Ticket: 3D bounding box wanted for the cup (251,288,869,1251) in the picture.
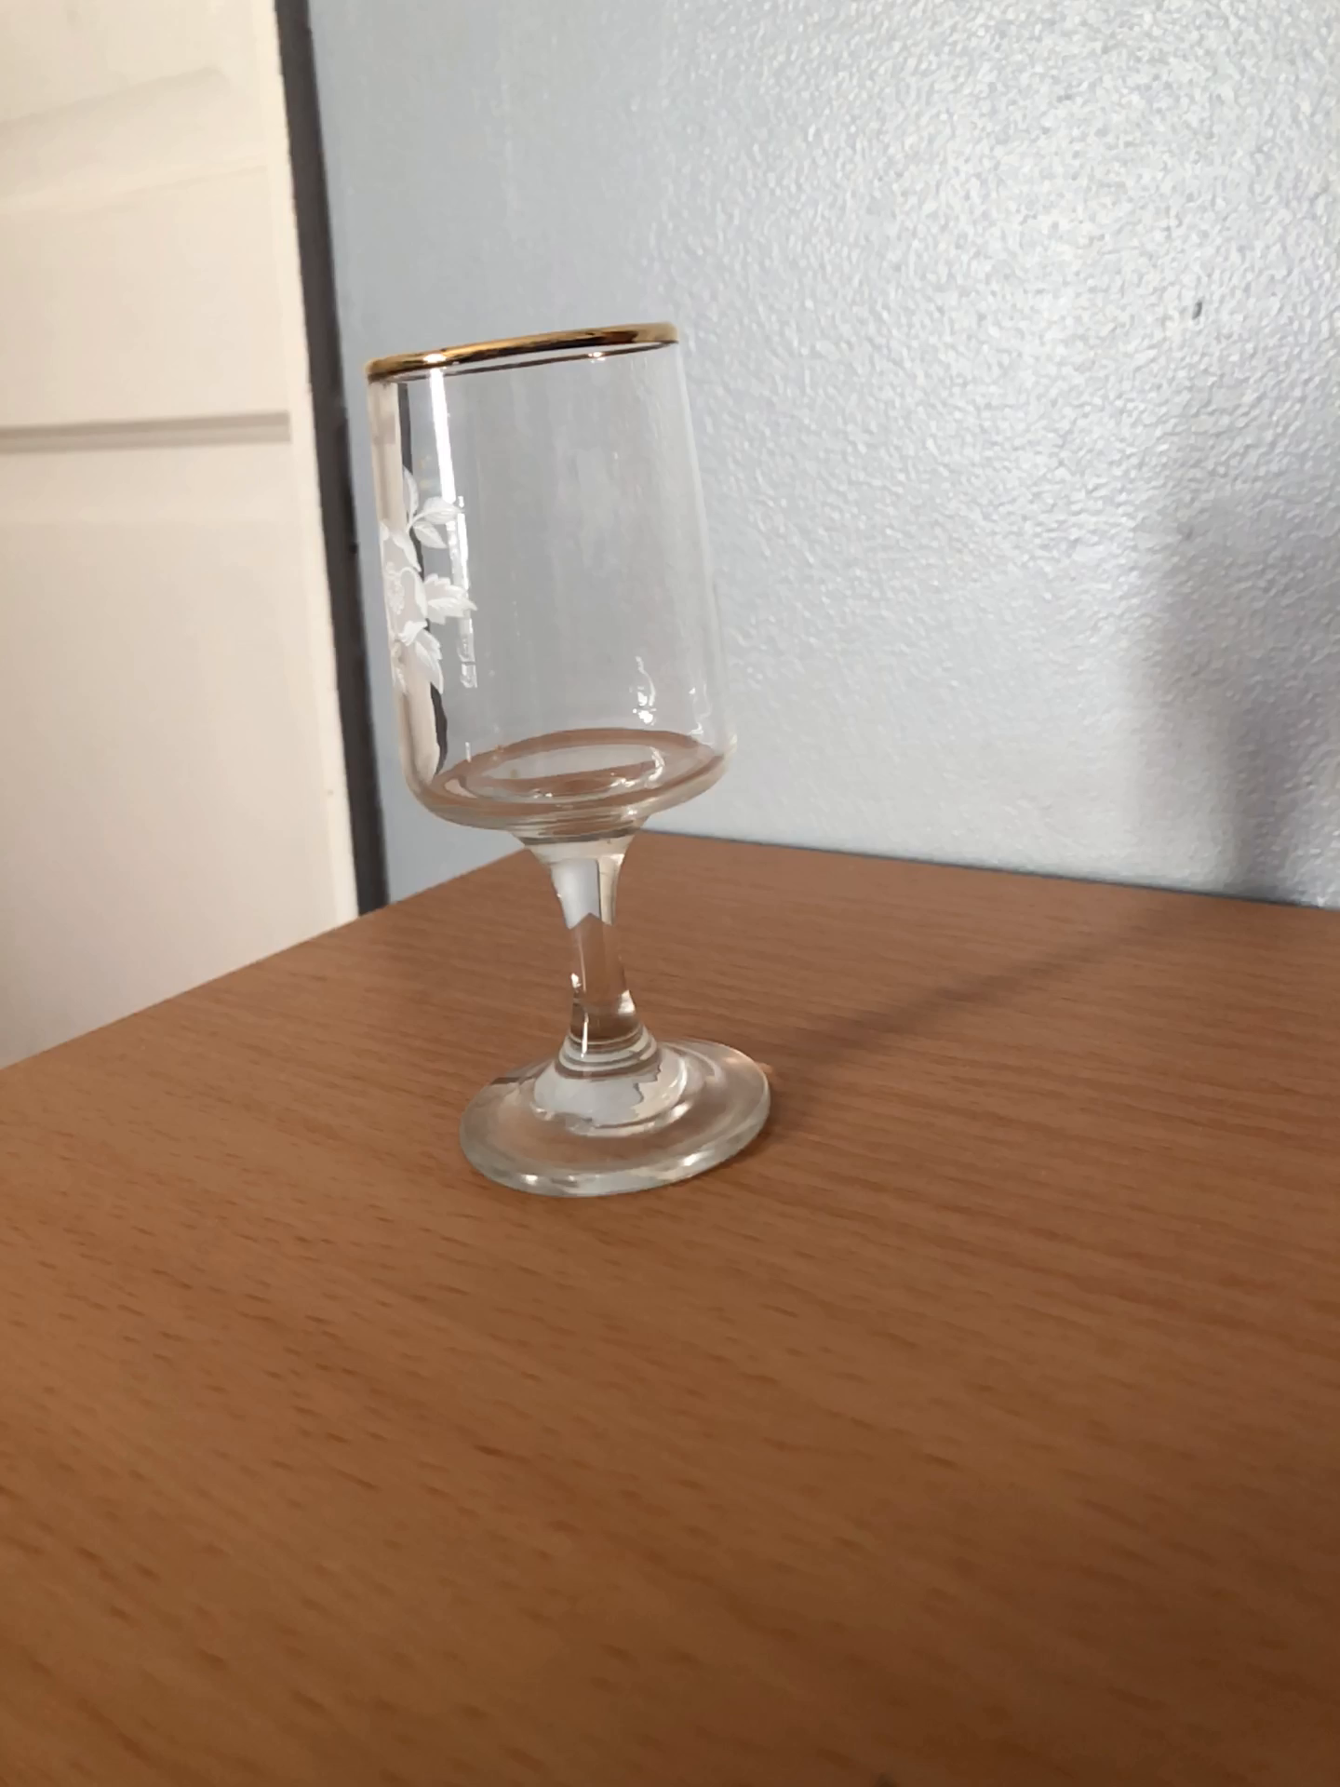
[{"bbox_3d":[-0.014,-0.019,0.202,0.056,0.108,0.052,-6,17,2],"label":"cup"}]
